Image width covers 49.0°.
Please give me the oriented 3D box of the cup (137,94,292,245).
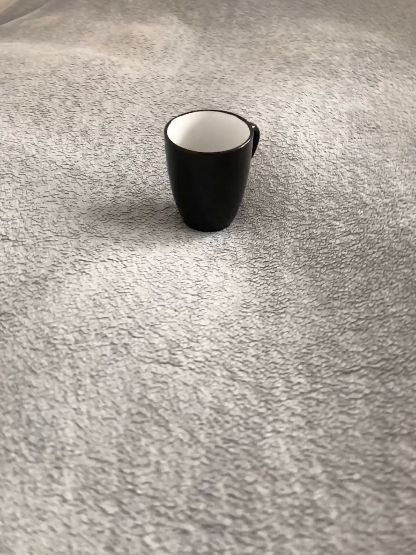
[{"bbox_3d":[0.009,-0.118,0.477,0.090,0.089,0.128,31,51,30],"label":"cup"}]
